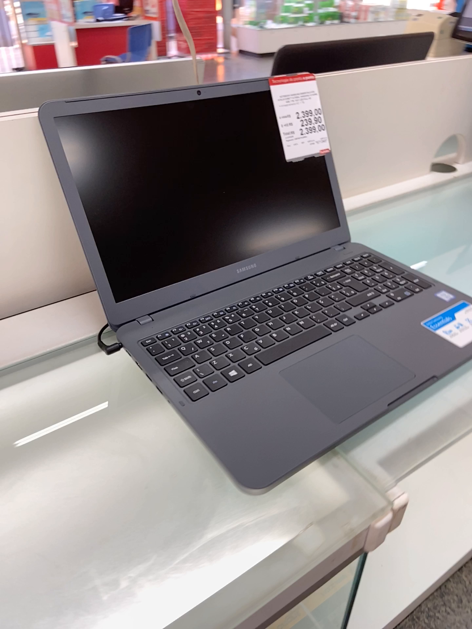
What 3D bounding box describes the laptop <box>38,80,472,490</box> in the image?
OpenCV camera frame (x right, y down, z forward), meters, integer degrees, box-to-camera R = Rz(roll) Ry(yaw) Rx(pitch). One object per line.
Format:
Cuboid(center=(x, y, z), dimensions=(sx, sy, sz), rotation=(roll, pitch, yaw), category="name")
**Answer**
Cuboid(center=(0.056, -0.092, 0.499), dimensions=(0.361, 0.197, 0.352), rotation=(-22, 40, -29), category="laptop")
